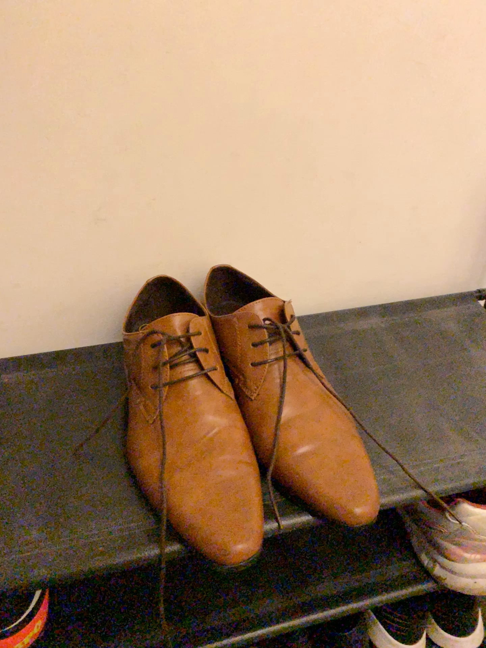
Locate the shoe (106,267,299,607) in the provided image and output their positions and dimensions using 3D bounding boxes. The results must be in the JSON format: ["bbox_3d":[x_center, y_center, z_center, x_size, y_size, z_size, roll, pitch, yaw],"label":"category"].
[{"bbox_3d":[-0.056,0.065,0.449,0.100,0.099,0.303,-9,34,-14],"label":"shoe"}]

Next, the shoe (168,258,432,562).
[{"bbox_3d":[0.026,0.050,0.480,0.100,0.099,0.302,-14,36,-21],"label":"shoe"}]
